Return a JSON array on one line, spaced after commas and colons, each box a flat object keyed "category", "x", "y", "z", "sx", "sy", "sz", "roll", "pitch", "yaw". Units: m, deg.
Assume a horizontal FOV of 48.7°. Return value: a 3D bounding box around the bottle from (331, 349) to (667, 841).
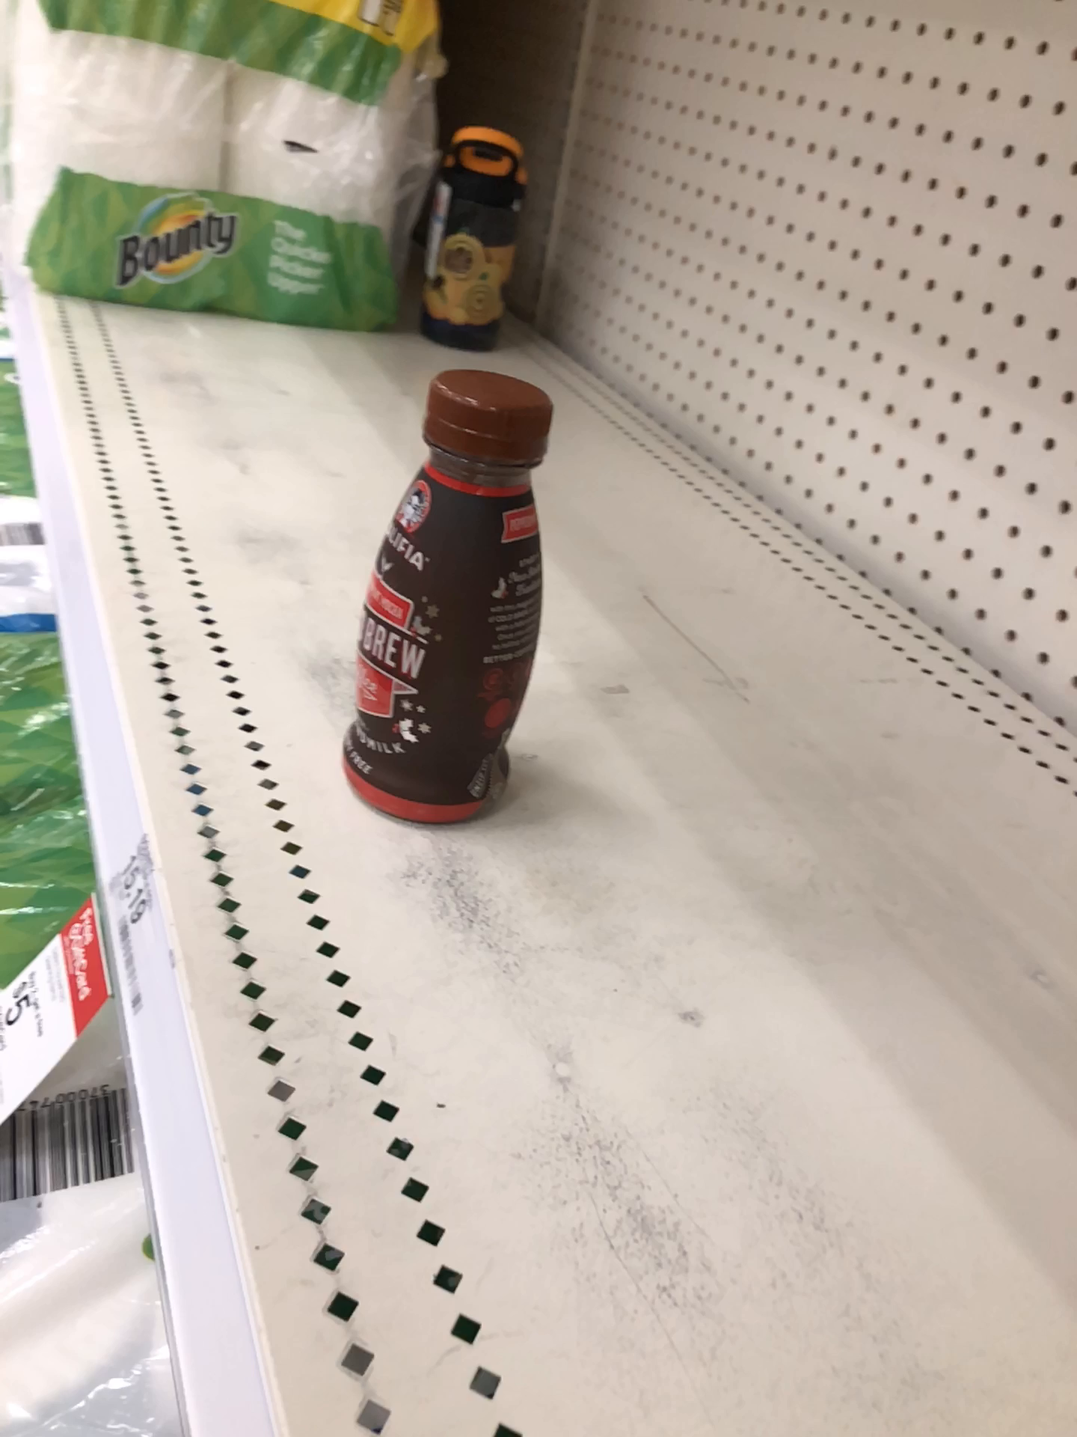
[{"category": "bottle", "x": -0.021, "y": -0.041, "z": 0.417, "sx": 0.080, "sy": 0.149, "sz": 0.070, "roll": -2, "pitch": 32, "yaw": -21}]
